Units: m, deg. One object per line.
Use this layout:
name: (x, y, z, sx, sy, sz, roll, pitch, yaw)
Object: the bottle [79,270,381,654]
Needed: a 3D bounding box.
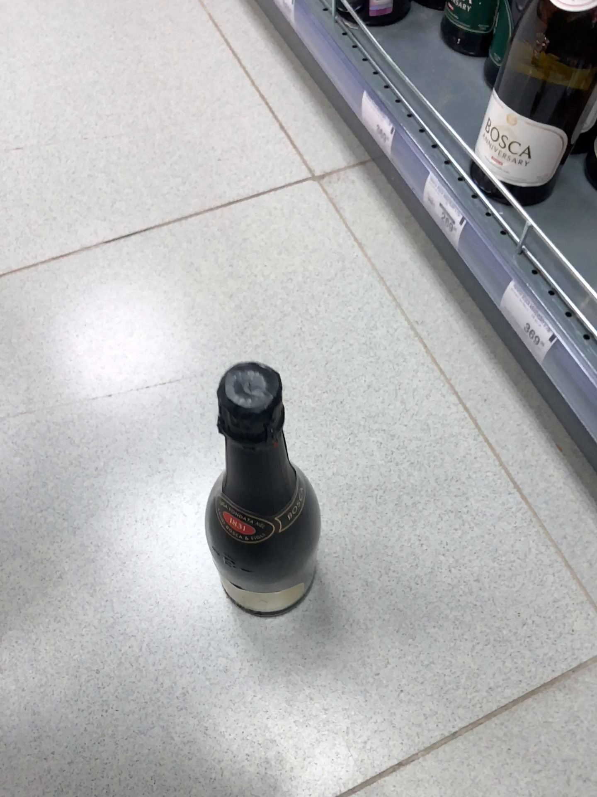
bottle: (-0.033, 0.071, 0.430, 0.100, 0.311, 0.090, 37, 66, 18)
